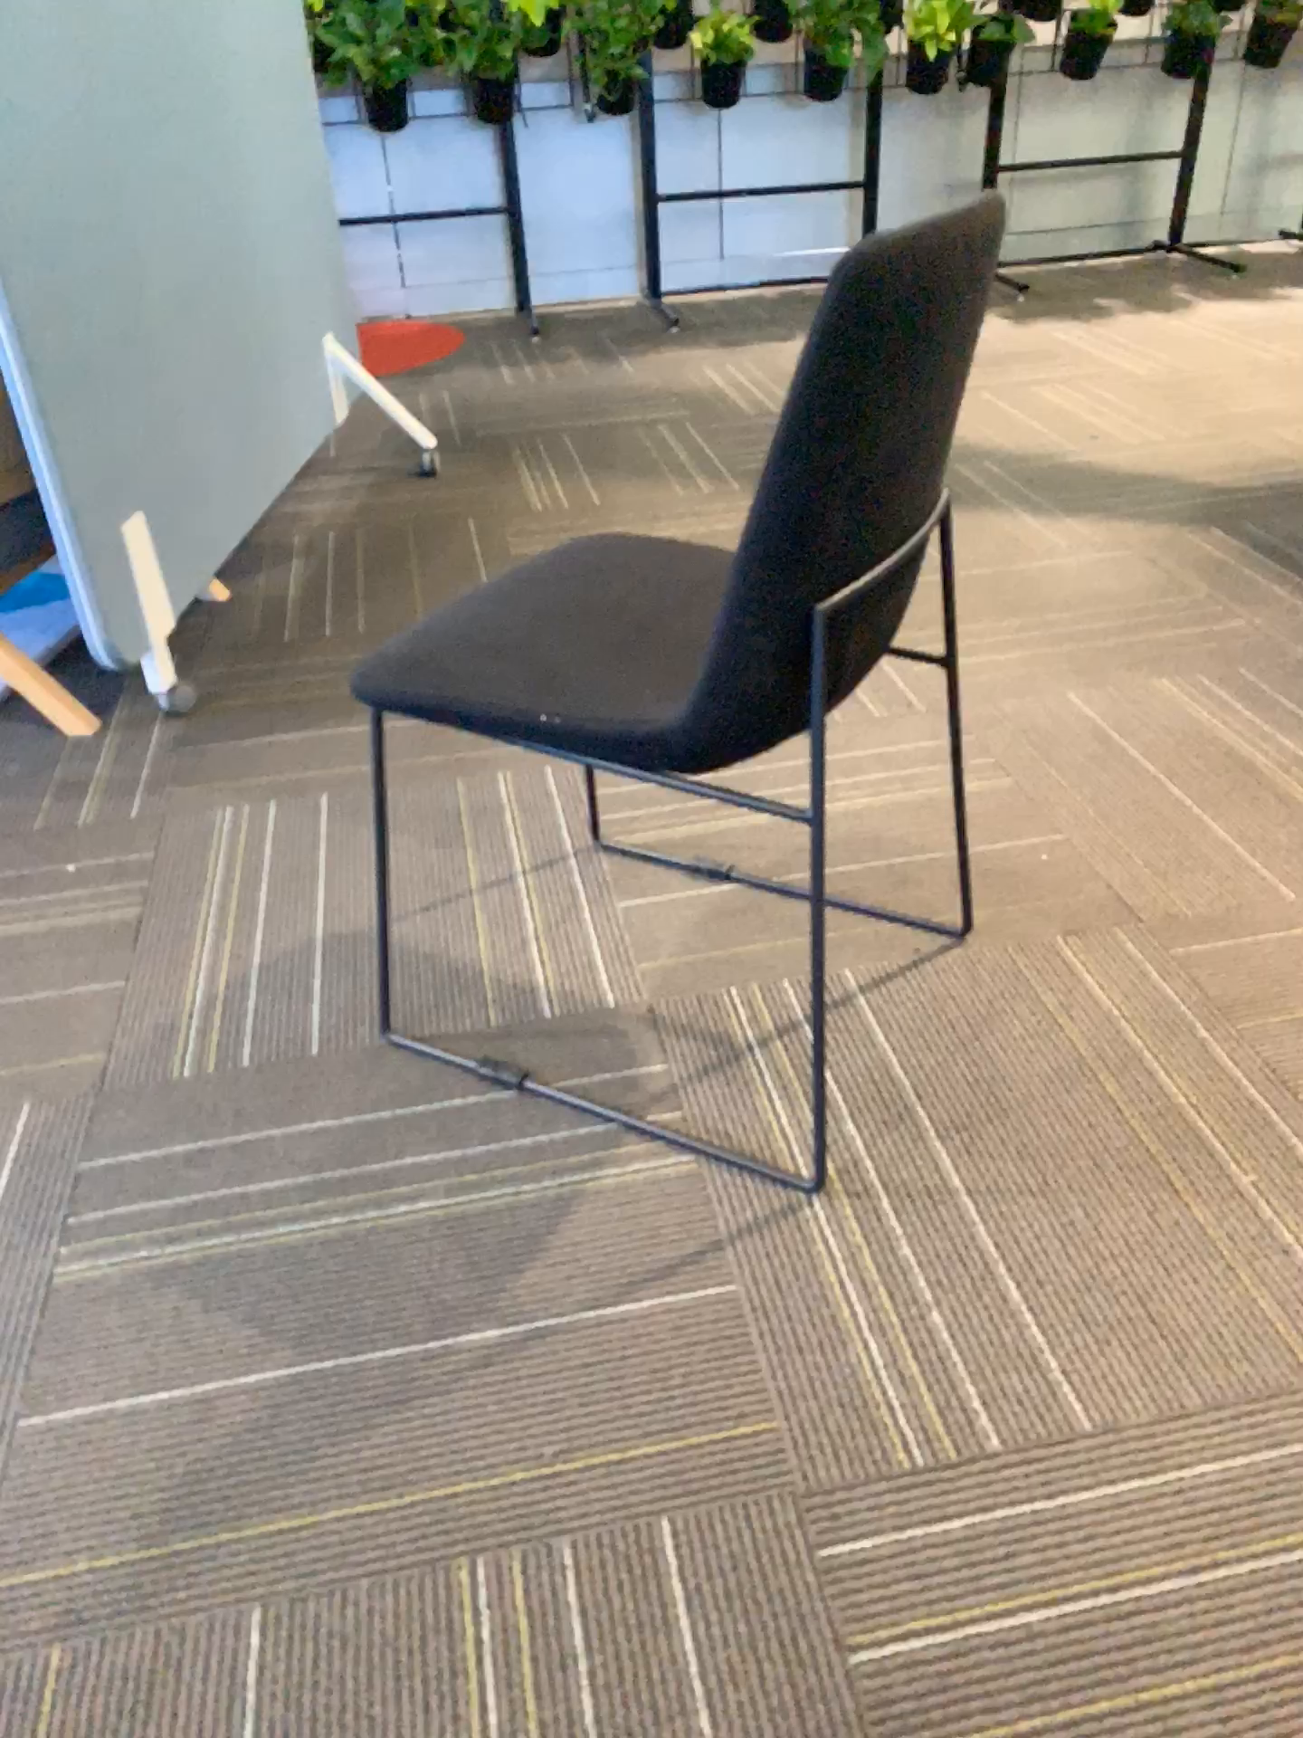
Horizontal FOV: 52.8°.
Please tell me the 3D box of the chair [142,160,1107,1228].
[{"bbox_3d":[0.017,-0.200,1.204,0.572,0.745,0.492,15,37,26],"label":"chair"}]
